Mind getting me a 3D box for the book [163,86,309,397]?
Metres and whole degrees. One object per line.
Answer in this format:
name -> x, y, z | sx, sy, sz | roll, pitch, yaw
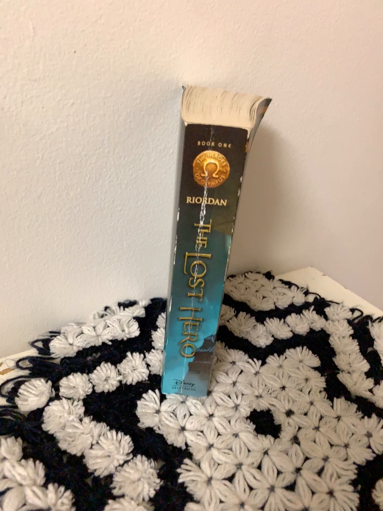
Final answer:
book -> 0.021, -0.019, 0.289 | 0.068, 0.177, 0.143 | 3, 28, 1
